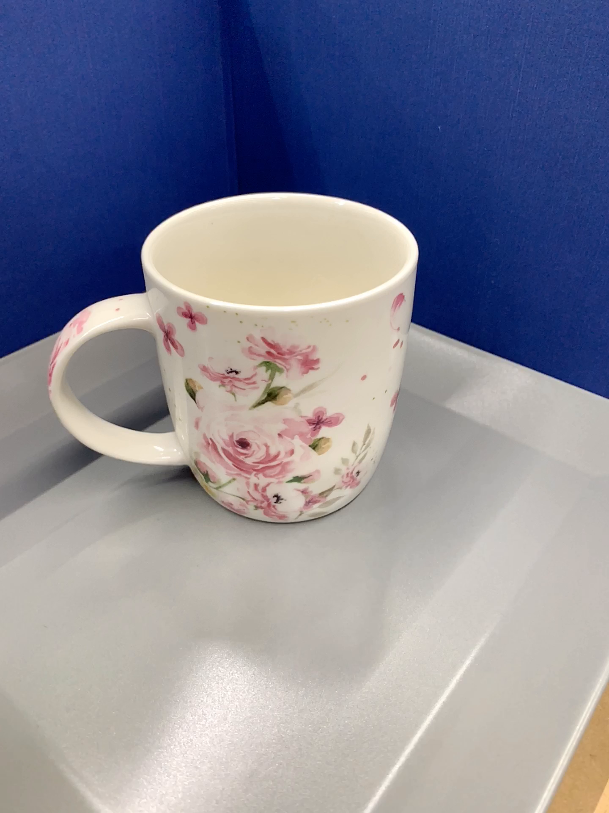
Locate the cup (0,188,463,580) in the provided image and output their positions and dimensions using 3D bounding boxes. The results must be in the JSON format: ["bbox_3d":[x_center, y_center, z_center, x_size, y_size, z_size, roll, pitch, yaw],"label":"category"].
[{"bbox_3d":[-0.023,-0.012,0.206,0.110,0.087,0.085,-4,36,-7],"label":"cup"}]
